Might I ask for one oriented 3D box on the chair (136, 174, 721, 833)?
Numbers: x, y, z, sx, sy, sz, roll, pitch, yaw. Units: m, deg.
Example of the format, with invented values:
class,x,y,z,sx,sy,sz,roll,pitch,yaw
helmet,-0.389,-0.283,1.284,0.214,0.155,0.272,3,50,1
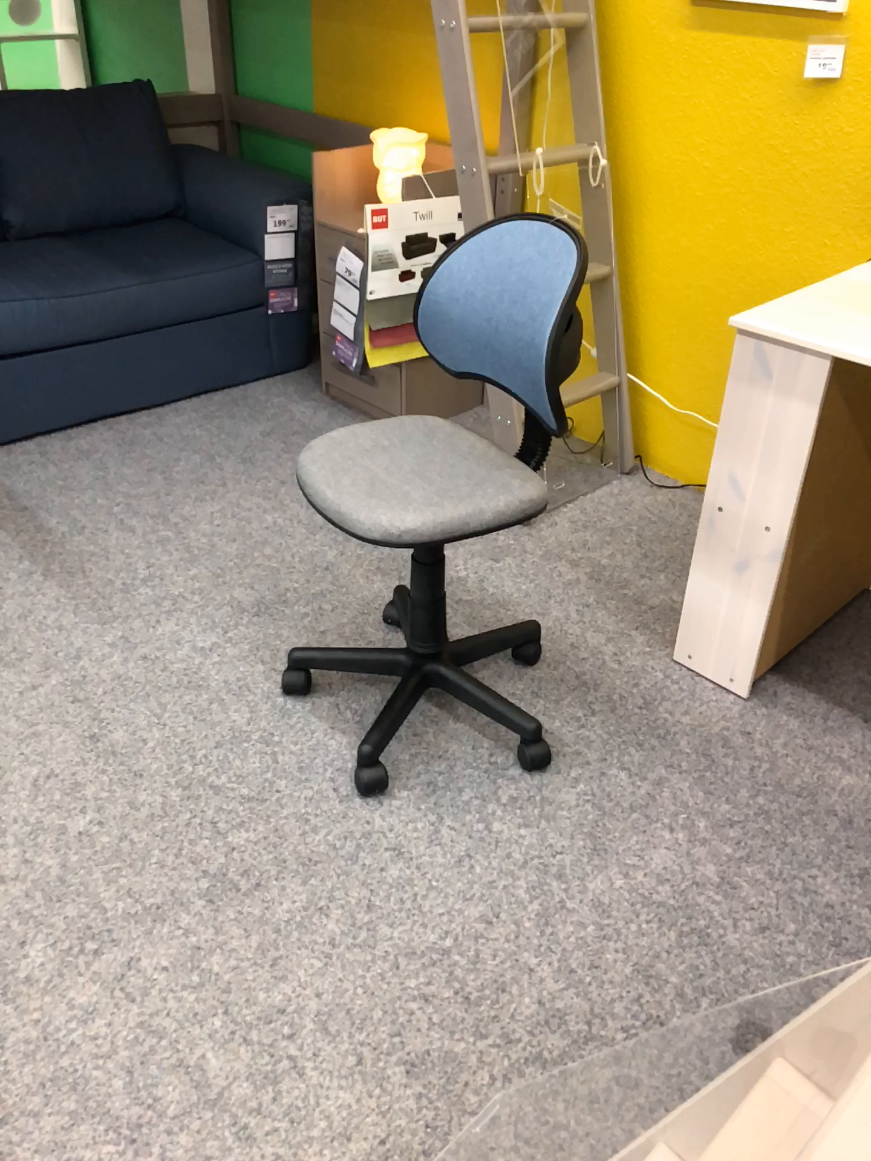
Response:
class,x,y,z,sx,sy,sz,roll,pitch,yaw
chair,-0.035,-0.171,1.522,0.563,0.746,0.601,-22,40,-32
